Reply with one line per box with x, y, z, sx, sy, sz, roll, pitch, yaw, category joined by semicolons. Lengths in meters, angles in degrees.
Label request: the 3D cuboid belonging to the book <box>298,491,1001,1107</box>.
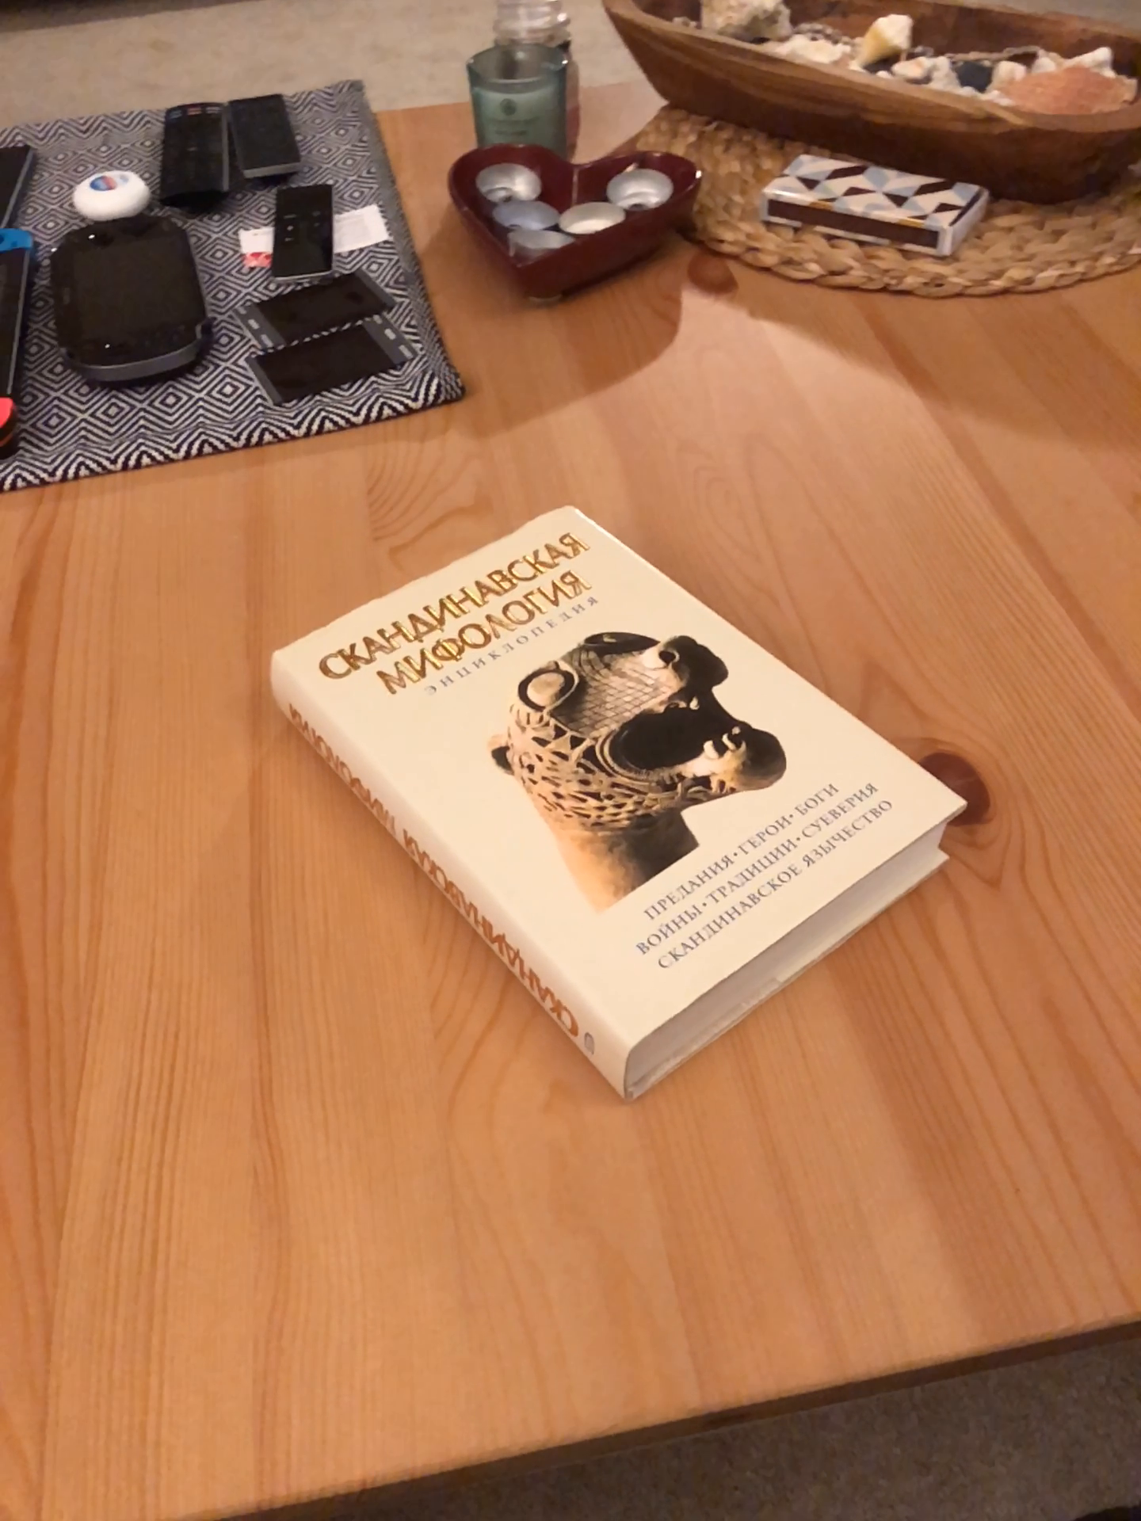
0.020;-0.003;0.454;0.147;0.037;0.210;-31;54;-21;book
